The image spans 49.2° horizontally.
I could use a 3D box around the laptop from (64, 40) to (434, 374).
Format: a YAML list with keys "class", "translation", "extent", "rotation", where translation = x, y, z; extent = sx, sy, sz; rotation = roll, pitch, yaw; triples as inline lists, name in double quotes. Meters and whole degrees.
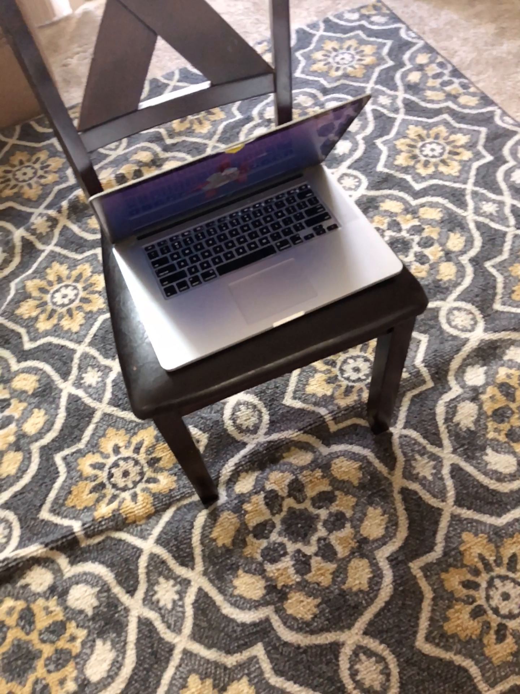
- class: "laptop"
  translation: [-0.016, -0.179, 0.720]
  extent: [0.351, 0.200, 0.237]
  rotation: [-23, 58, -9]
